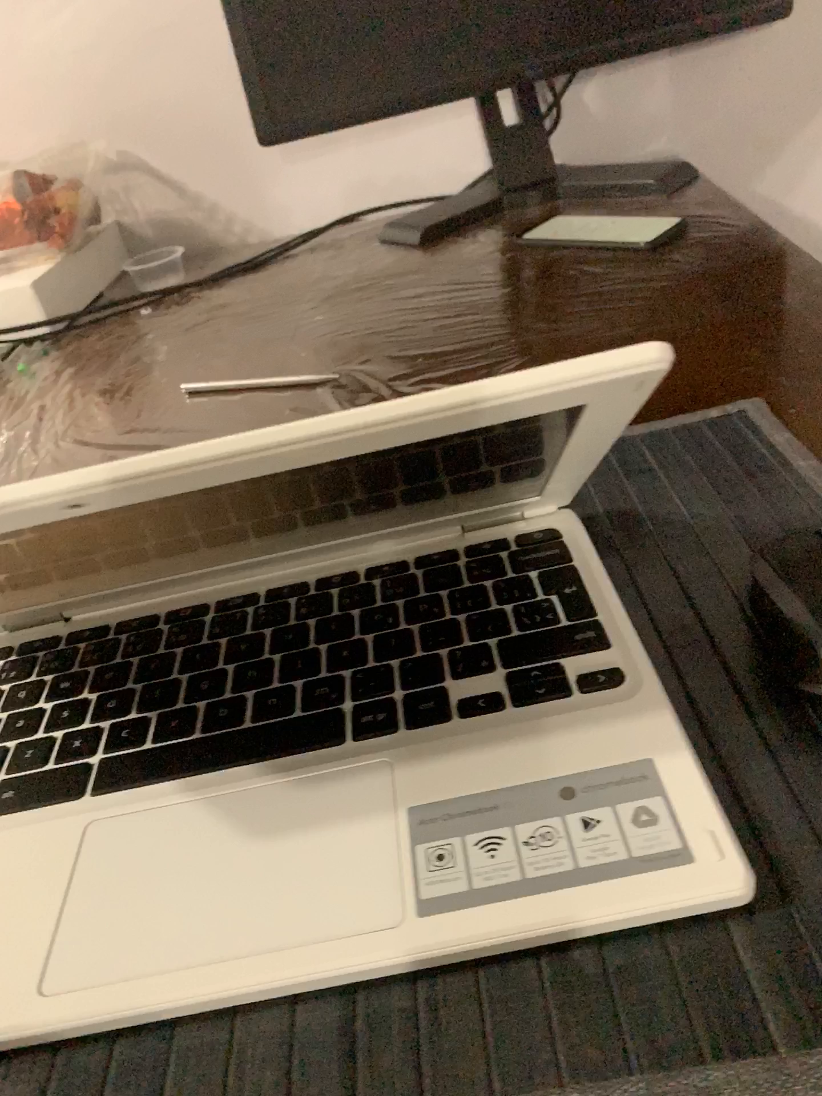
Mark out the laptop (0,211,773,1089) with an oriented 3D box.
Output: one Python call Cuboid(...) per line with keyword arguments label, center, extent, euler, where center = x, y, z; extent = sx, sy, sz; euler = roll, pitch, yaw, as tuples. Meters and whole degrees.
Cuboid(label="laptop", center=(-0.070, 0.012, 0.258), extent=(0.280, 0.124, 0.182), euler=(-12, 33, 3))
